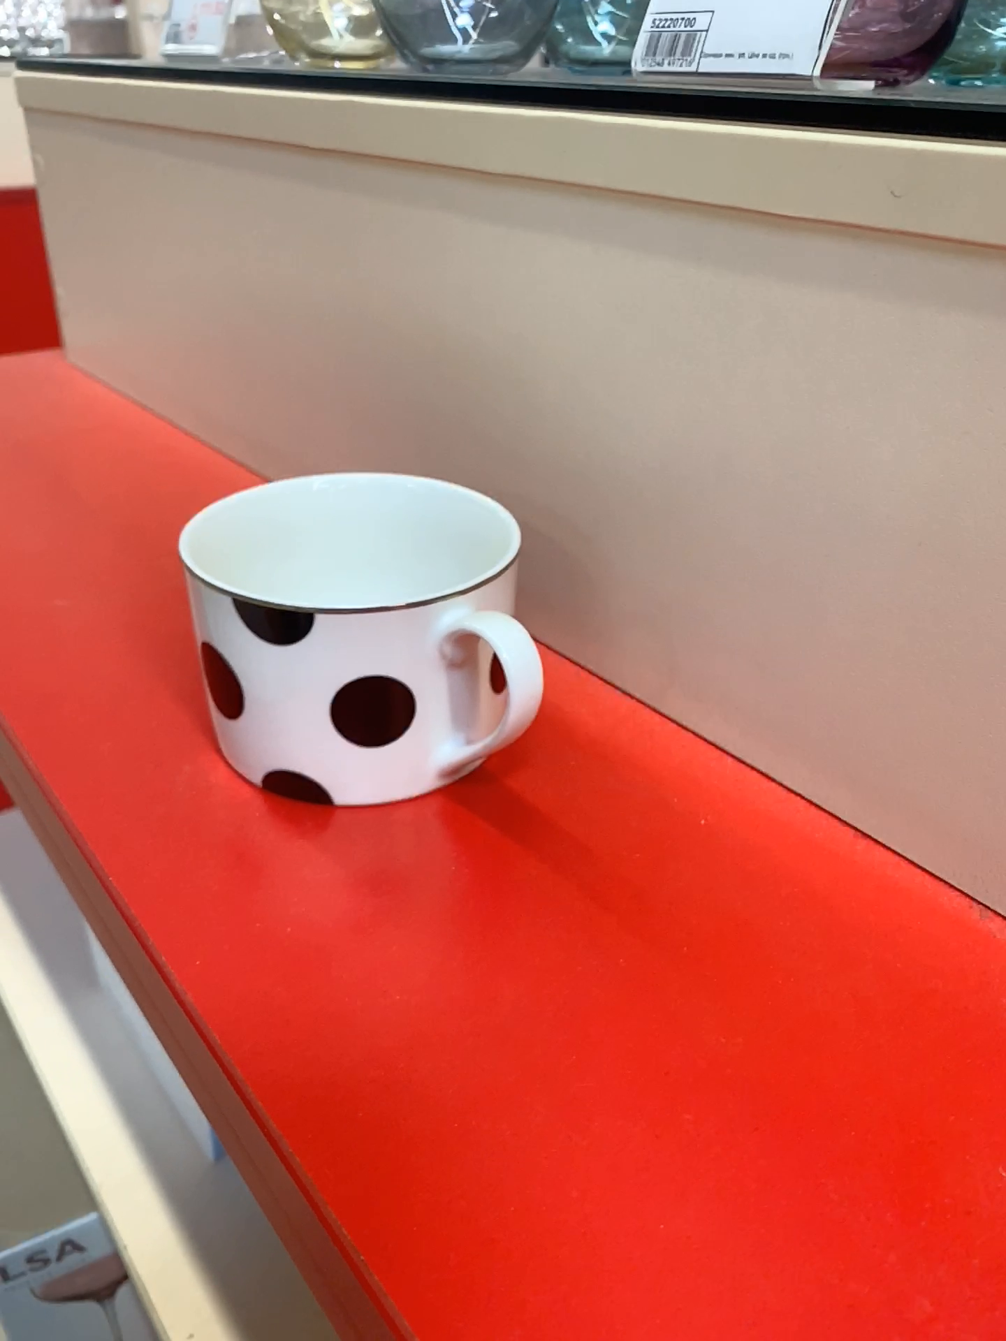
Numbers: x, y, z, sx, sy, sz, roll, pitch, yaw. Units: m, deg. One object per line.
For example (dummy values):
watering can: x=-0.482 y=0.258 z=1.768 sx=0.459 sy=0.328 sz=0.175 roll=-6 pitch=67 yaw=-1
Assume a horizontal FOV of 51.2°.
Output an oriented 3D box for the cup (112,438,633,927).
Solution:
cup: x=-0.034 y=-0.006 z=0.269 sx=0.080 sy=0.070 sz=0.100 roll=-24 pitch=38 yaw=-37
